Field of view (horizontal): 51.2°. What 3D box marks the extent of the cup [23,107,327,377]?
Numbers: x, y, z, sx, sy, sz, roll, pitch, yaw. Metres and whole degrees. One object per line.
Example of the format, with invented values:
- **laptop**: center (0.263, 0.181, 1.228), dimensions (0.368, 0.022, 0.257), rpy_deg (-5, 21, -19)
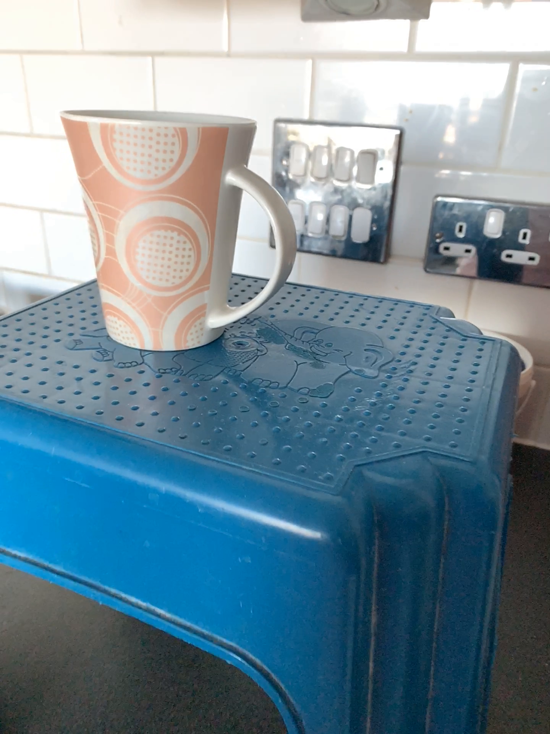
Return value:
- **cup**: center (-0.045, -0.070, 0.289), dimensions (0.116, 0.105, 0.078), rpy_deg (12, 27, 20)
